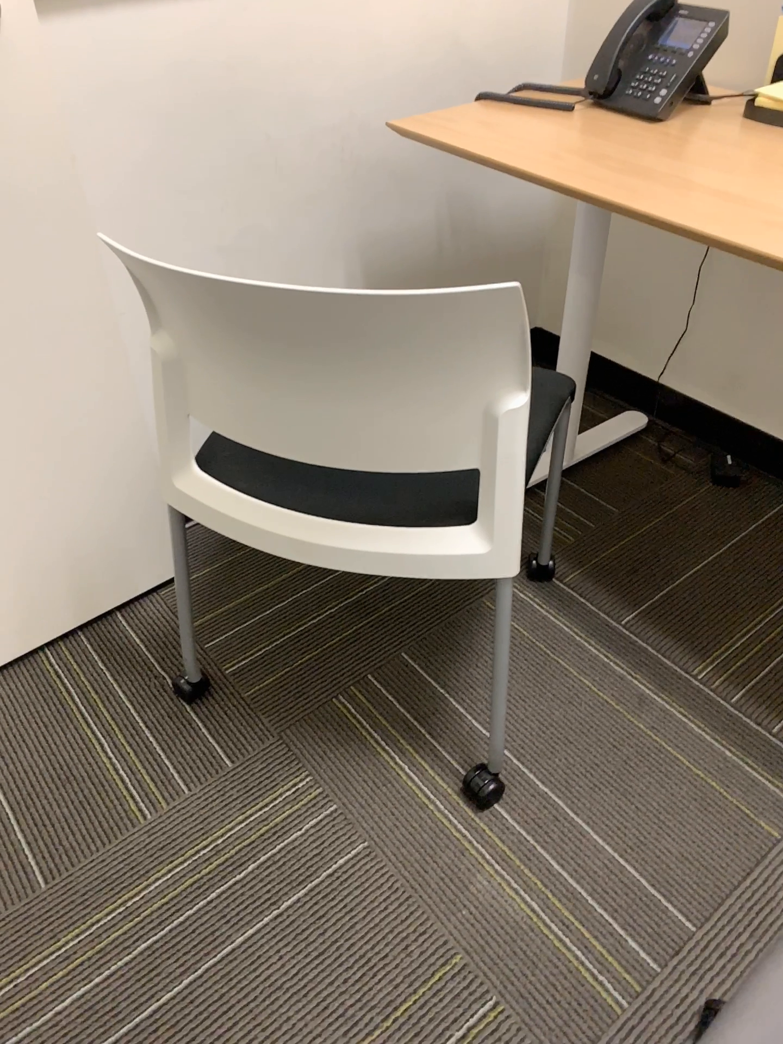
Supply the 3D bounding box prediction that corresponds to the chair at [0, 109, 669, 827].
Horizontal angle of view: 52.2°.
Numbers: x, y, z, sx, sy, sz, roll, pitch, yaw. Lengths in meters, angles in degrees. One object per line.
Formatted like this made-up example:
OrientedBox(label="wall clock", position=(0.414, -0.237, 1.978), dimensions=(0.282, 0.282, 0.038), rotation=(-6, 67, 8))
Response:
OrientedBox(label="chair", position=(-0.020, -0.105, 1.189), dimensions=(0.611, 0.755, 0.582), rotation=(14, 43, 18))
